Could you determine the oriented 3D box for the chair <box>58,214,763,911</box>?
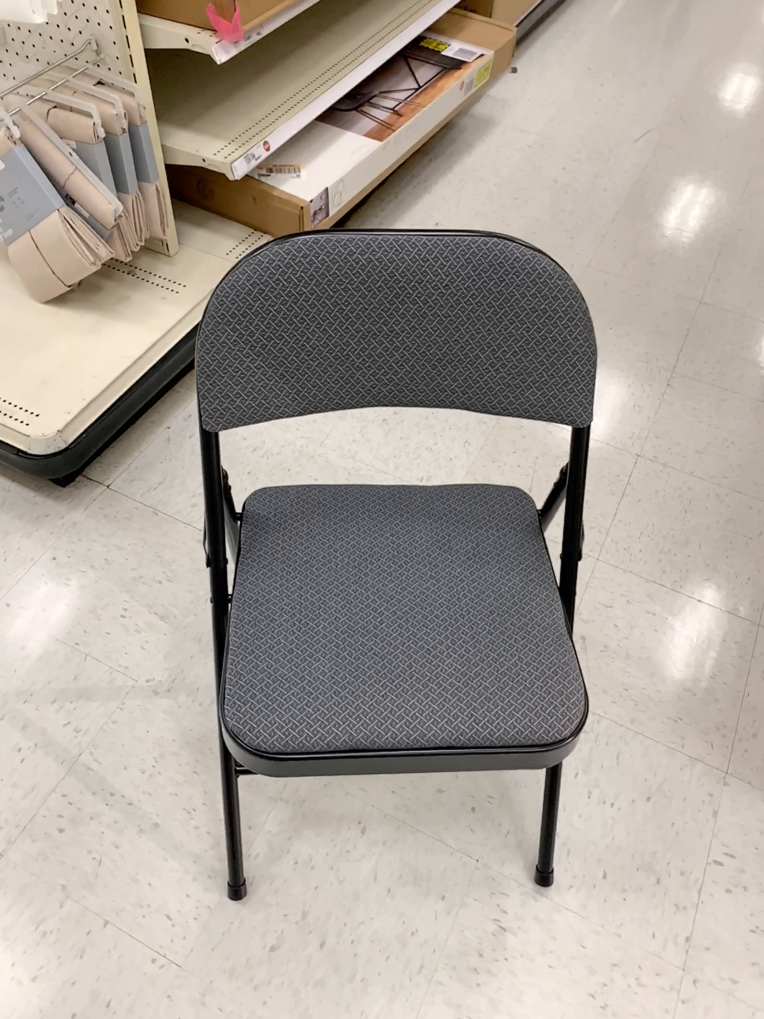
[{"bbox_3d":[0.010,0.101,0.956,0.500,0.677,0.552,-1,52,-4],"label":"chair"}]
